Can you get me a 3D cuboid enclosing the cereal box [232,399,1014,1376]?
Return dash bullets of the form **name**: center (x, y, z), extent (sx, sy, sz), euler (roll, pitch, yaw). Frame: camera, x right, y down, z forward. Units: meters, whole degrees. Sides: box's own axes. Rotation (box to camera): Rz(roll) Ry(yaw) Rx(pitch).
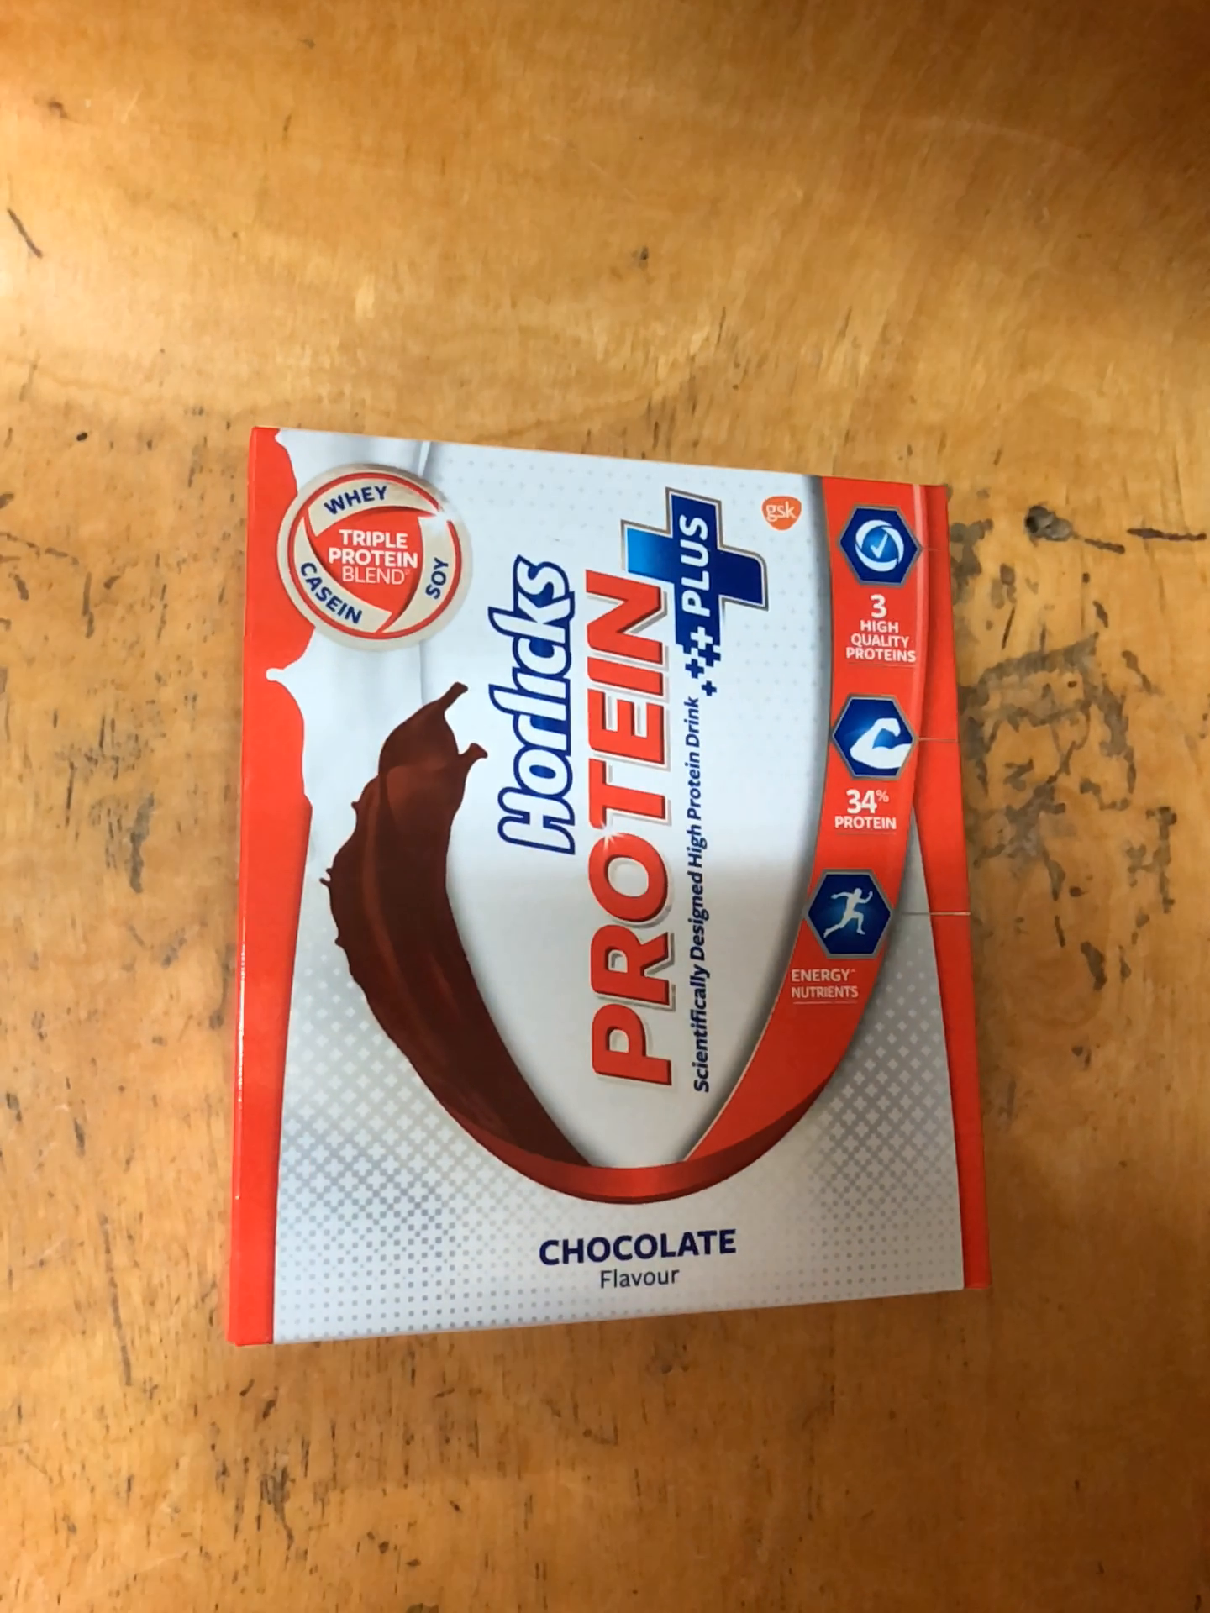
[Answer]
- **cereal box**: center (0.002, 0.014, 0.265), extent (0.140, 0.050, 0.160), euler (1, 83, -17)
